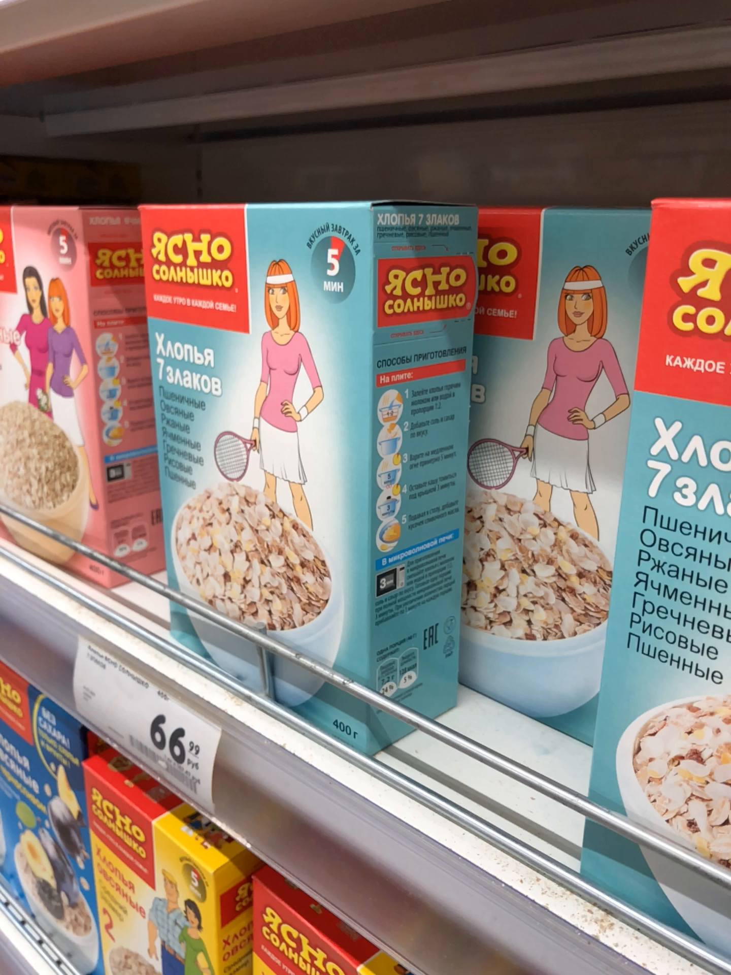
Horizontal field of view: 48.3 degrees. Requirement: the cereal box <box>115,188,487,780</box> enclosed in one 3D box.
[{"bbox_3d":[-0.030,-0.012,0.313,0.140,0.189,0.050,17,24,42],"label":"cereal box"}]
